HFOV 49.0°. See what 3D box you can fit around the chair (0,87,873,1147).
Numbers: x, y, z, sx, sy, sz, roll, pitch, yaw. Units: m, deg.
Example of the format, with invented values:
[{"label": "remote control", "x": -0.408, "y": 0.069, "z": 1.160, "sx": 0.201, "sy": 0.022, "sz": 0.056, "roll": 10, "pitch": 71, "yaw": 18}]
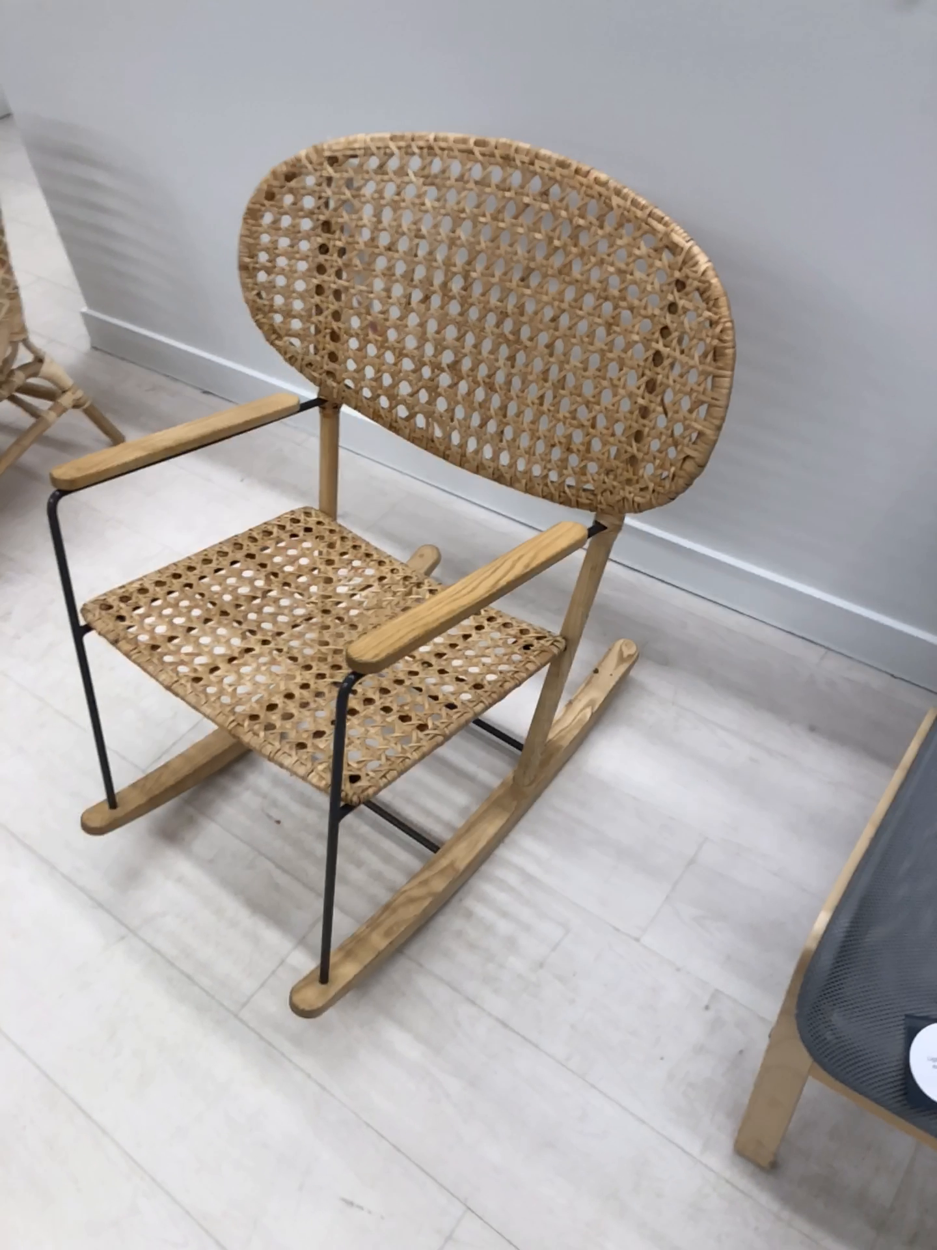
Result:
[{"label": "chair", "x": -0.135, "y": -0.078, "z": 1.355, "sx": 0.832, "sy": 0.787, "sz": 0.851, "roll": 29, "pitch": 56, "yaw": 29}]
